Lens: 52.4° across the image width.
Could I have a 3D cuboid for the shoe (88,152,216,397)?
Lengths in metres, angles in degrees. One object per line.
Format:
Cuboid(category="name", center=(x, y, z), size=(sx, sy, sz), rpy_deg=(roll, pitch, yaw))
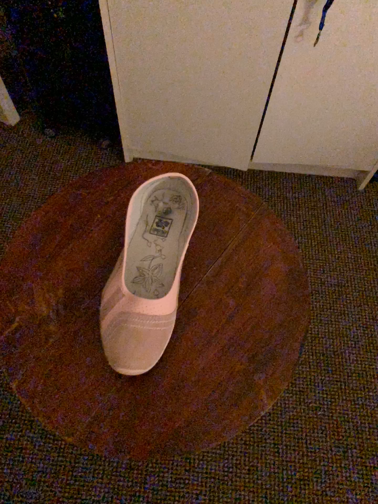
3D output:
Cuboid(category="shoe", center=(-0.032, 0.015, 0.449), size=(0.090, 0.070, 0.271), rpy_deg=(8, 62, 2))
